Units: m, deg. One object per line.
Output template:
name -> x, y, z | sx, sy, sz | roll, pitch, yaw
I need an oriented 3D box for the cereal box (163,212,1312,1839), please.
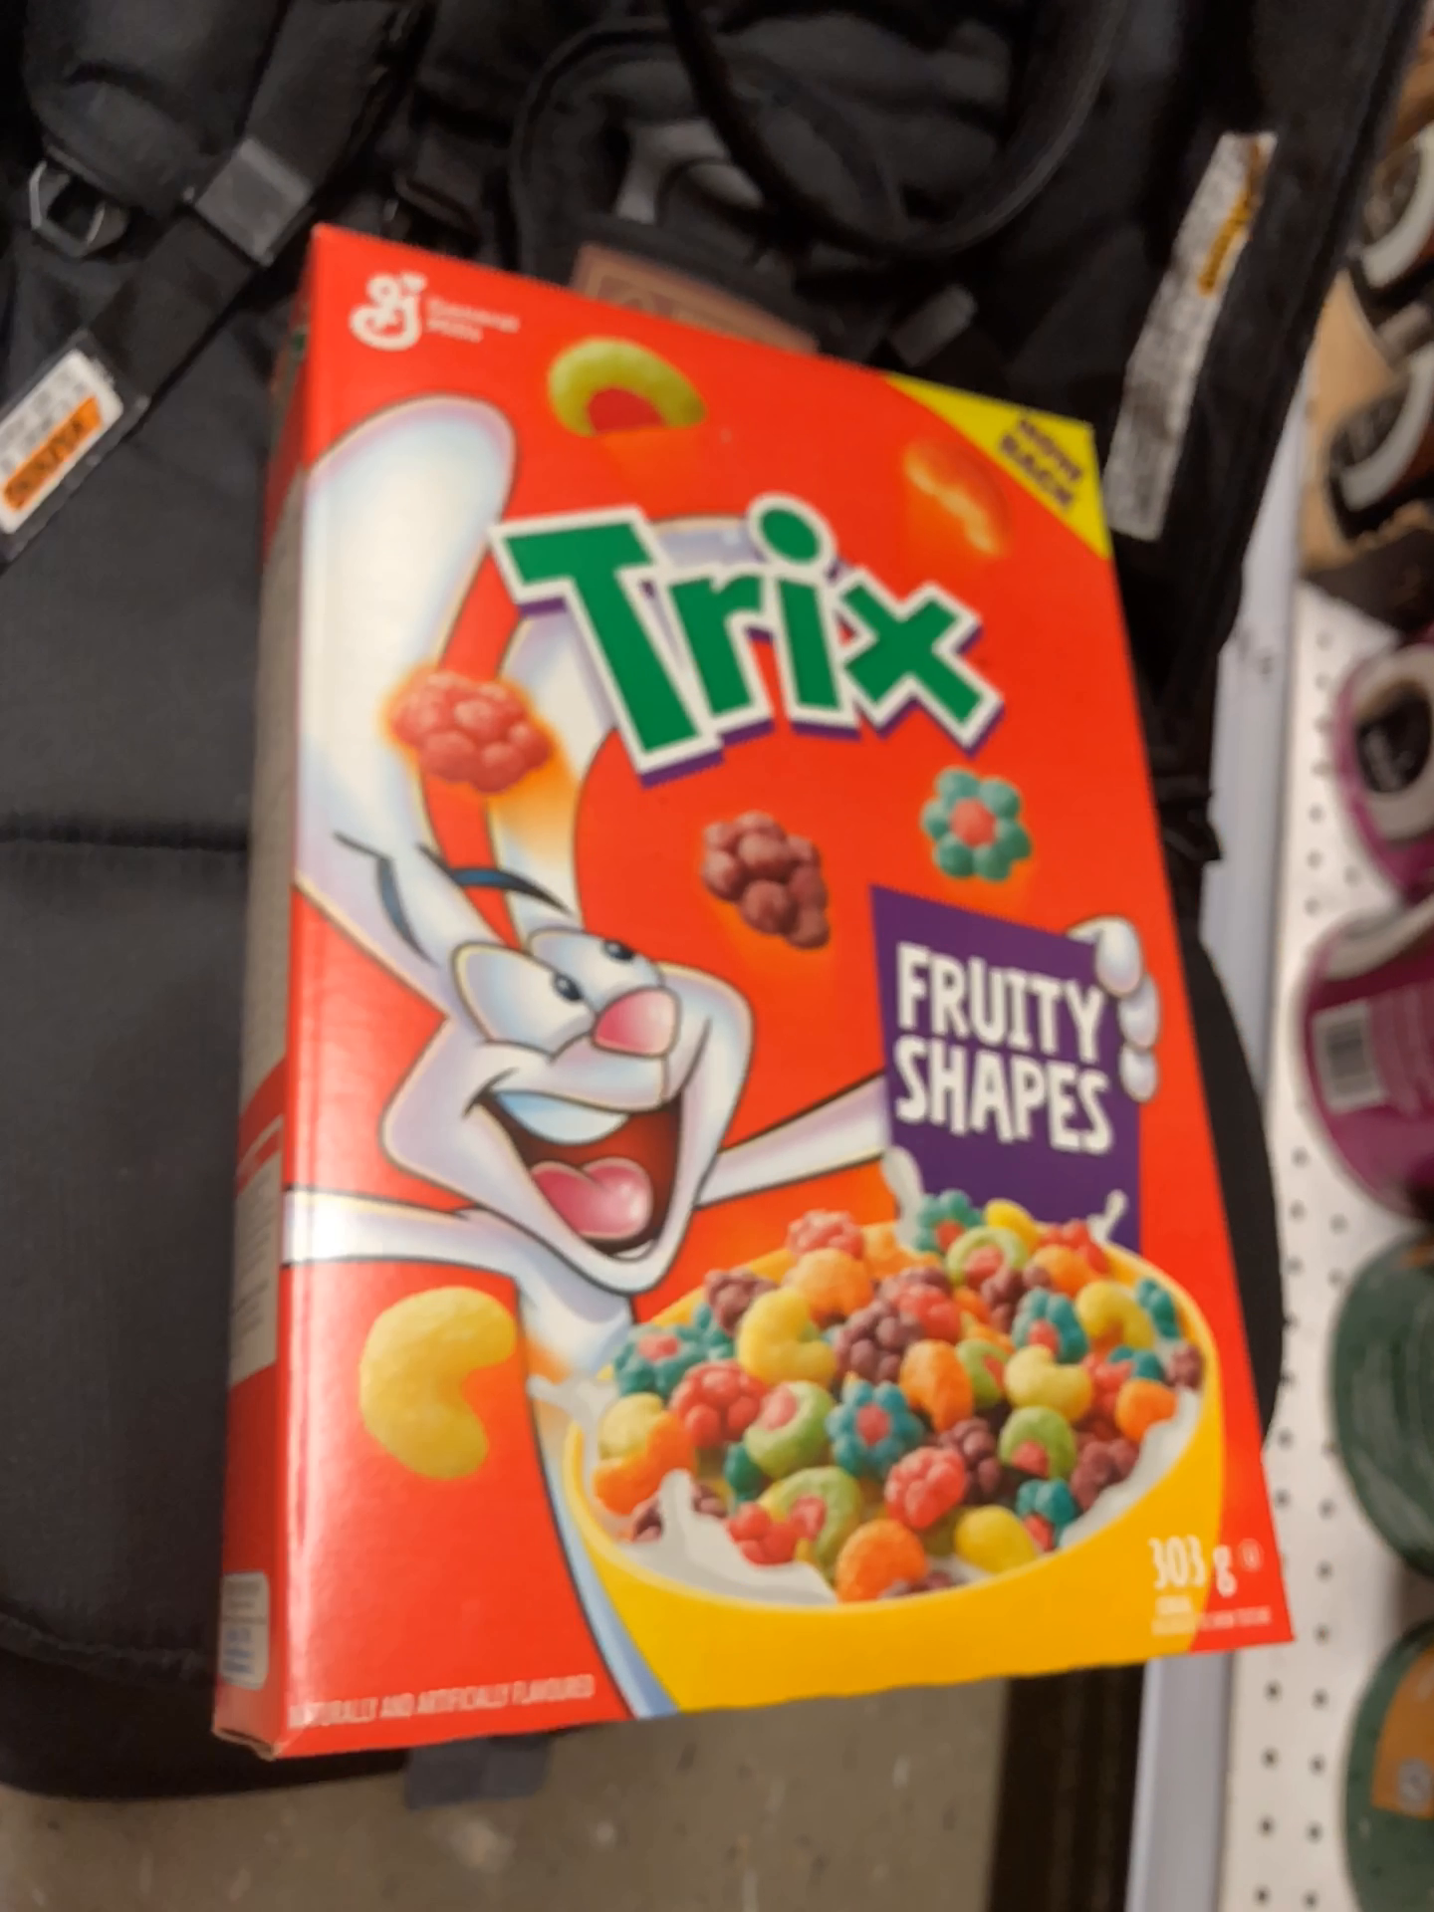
cereal box -> 0.002, 0.007, 0.335 | 0.201, 0.060, 0.280 | 5, 70, -25
